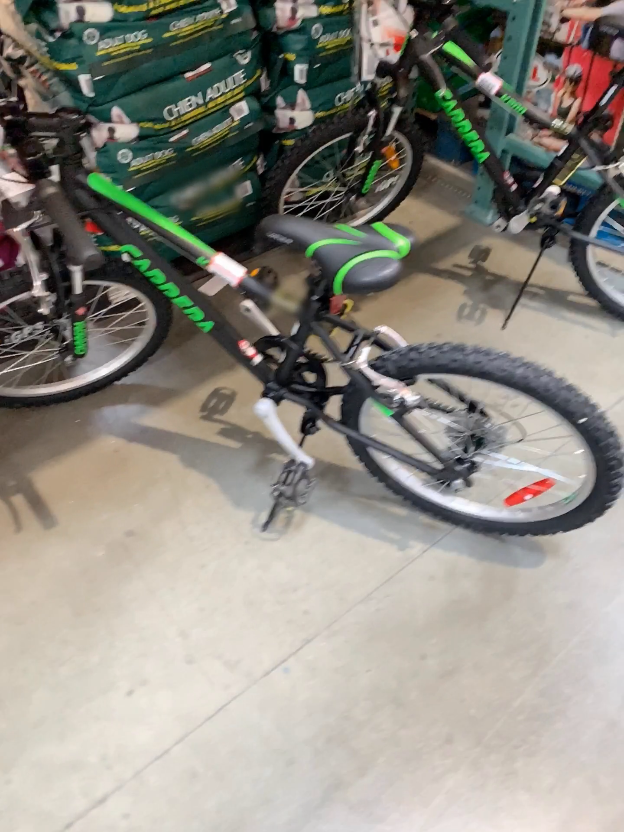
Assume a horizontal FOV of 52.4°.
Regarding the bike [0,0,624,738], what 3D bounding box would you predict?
[{"bbox_3d":[-0.115,-0.107,1.042,1.304,0.855,0.711,11,48,9],"label":"bike"}]
